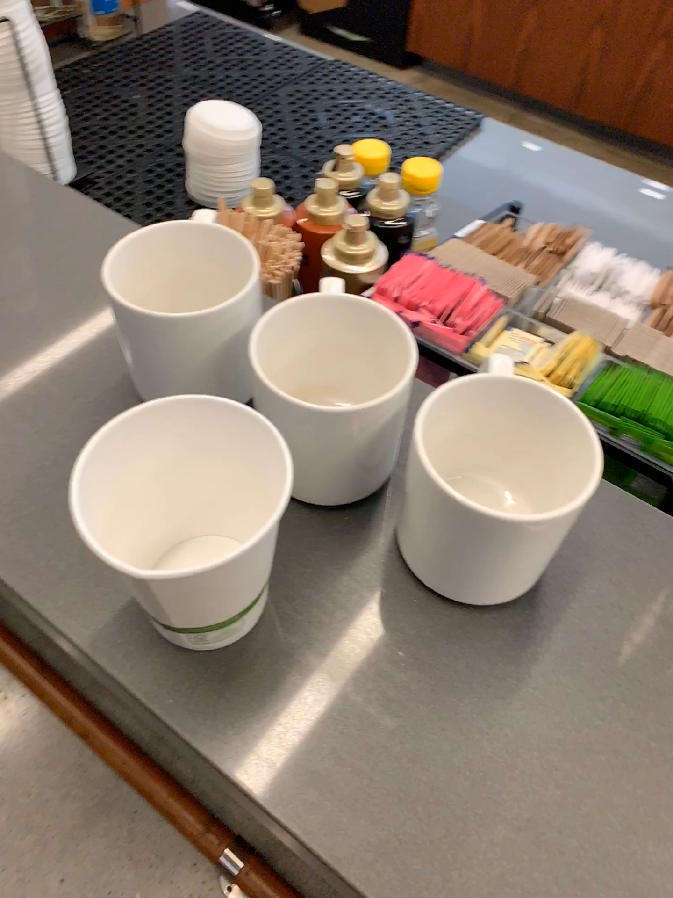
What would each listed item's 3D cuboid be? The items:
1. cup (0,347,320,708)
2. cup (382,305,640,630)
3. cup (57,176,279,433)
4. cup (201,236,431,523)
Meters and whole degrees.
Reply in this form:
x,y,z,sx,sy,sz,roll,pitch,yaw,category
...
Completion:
x,y,z,sx,sy,sz,roll,pitch,yaw,category
-0.072,0.037,0.318,0.090,0.109,0.090,2,52,-2,cup
0.087,0.008,0.368,0.100,0.090,0.131,10,52,5,cup
-0.092,-0.090,0.422,0.090,0.080,0.131,7,52,2,cup
-0.006,-0.042,0.390,0.100,0.080,0.131,8,52,3,cup
